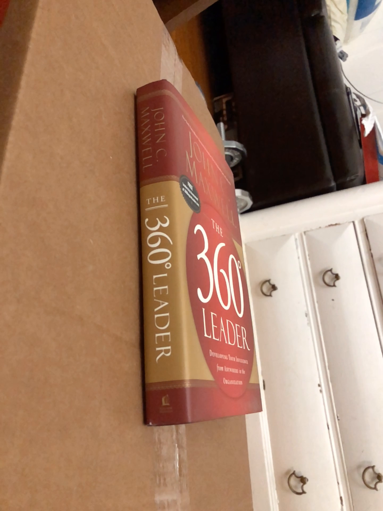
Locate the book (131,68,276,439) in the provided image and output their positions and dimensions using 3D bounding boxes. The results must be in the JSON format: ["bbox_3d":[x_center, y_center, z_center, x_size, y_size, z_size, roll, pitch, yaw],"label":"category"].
[{"bbox_3d":[0.015,0.009,0.340,0.181,0.030,0.240,37,44,-60],"label":"book"}]
